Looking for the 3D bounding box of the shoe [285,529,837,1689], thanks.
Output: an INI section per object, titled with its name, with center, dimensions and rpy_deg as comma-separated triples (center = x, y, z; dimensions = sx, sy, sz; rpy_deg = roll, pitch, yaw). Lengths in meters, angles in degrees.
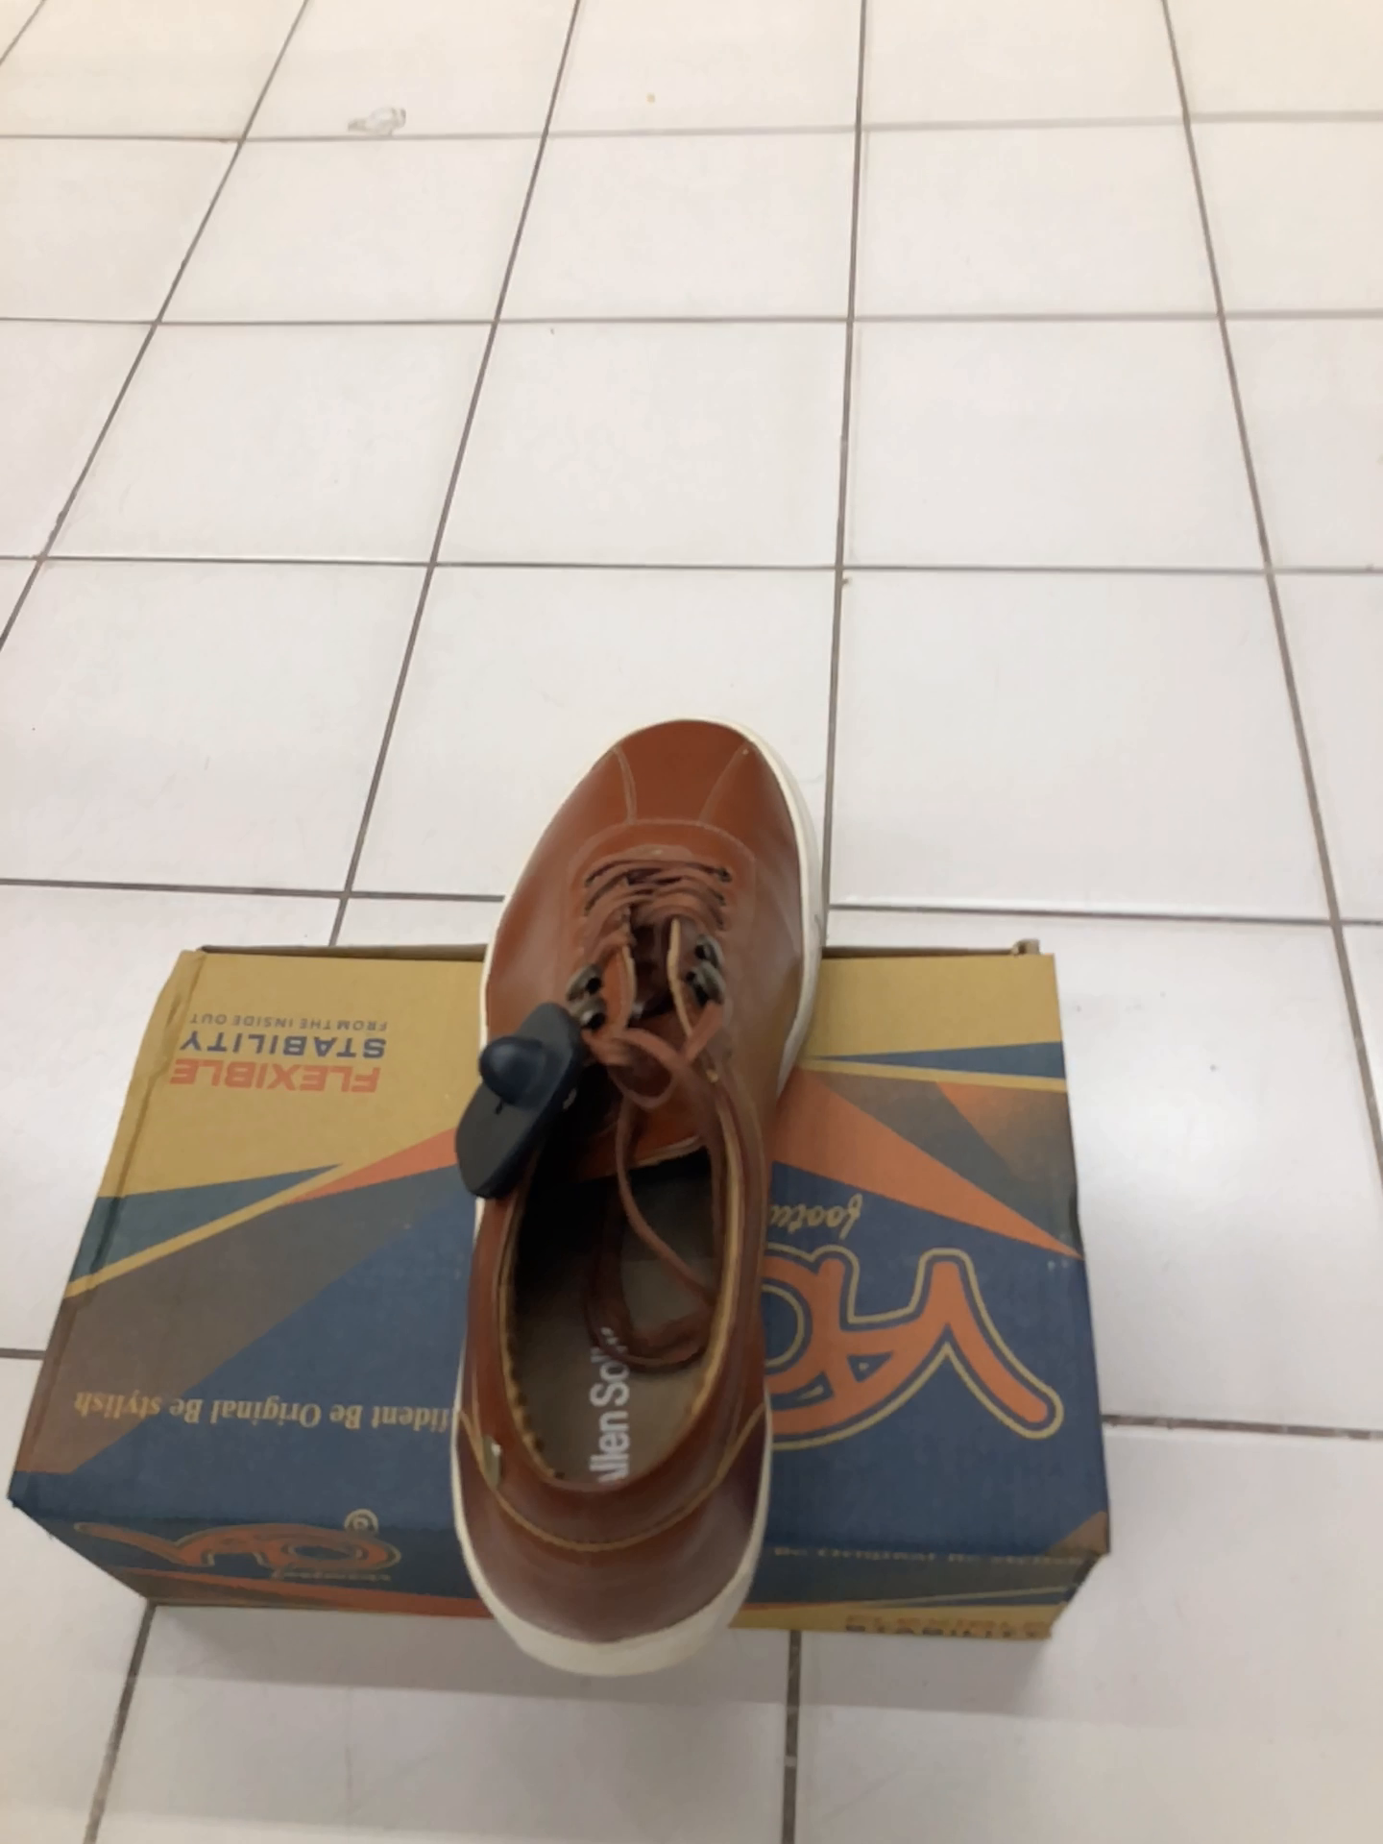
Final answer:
[shoe]
center = -0.014, 0.034, 0.398
dimensions = 0.100, 0.110, 0.281
rpy_deg = 1, 55, 4
